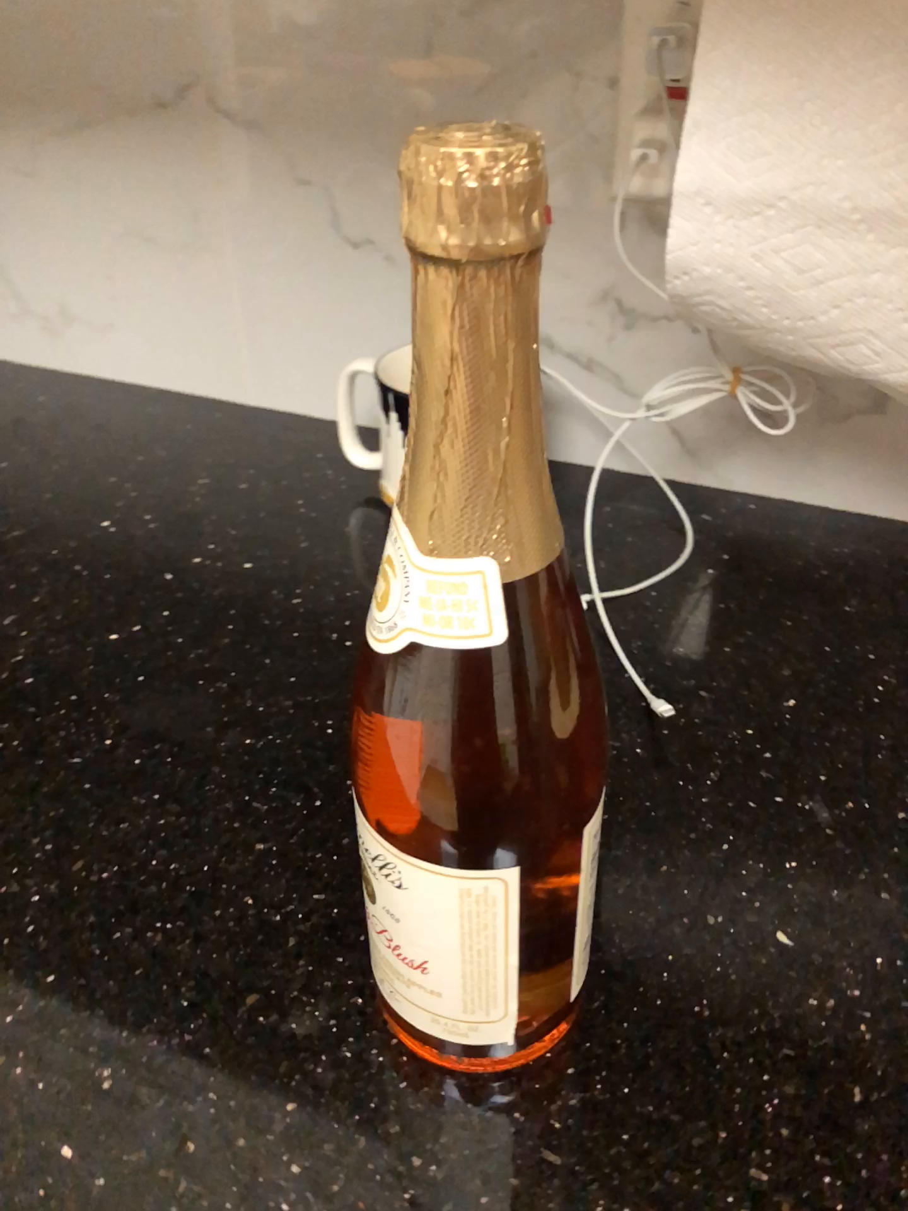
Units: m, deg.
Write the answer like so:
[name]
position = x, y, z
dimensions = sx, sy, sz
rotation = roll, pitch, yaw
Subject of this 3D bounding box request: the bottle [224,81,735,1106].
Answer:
[bottle]
position = 0.003, 0.020, 0.298
dimensions = 0.090, 0.298, 0.091
rotation = -1, 35, 1
